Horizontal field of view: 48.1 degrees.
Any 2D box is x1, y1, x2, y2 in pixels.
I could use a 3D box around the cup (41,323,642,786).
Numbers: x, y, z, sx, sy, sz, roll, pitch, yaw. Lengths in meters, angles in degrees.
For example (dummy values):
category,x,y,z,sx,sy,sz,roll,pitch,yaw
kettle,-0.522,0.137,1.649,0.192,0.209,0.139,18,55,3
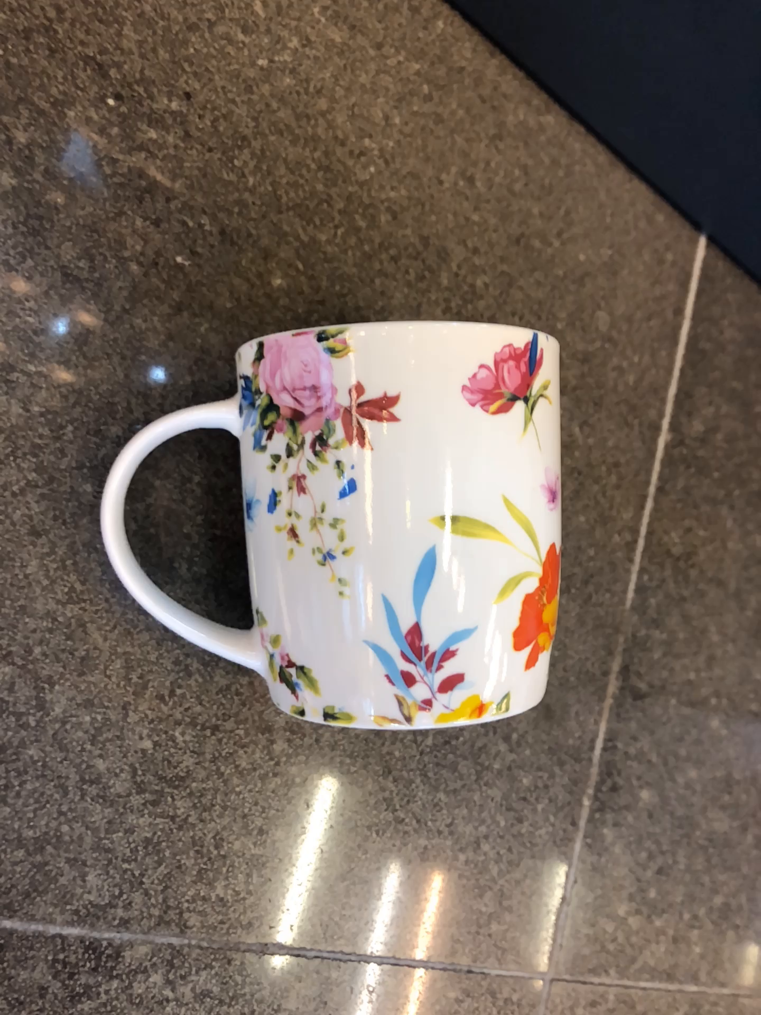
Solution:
category,x,y,z,sx,sy,sz,roll,pitch,yaw
cup,-0.008,0.010,0.216,0.120,0.080,0.090,-3,90,-1
